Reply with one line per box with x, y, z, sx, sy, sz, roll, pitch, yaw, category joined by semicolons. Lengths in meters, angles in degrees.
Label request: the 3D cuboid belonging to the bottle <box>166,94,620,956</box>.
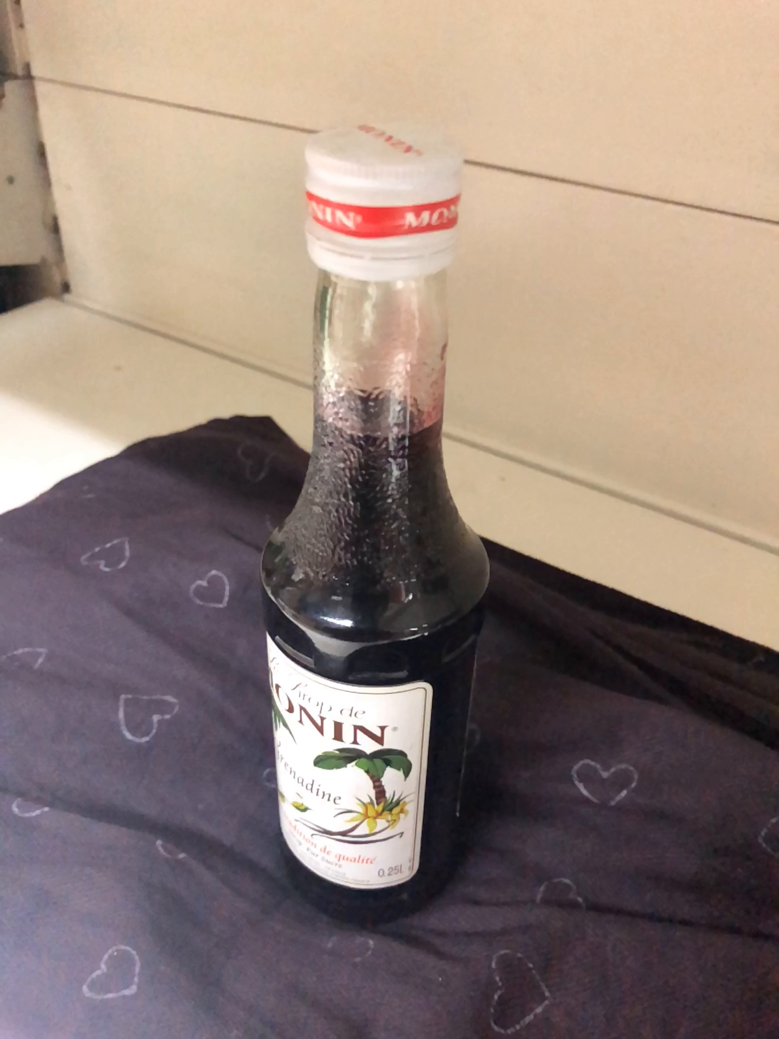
-0.003;0.011;0.215;0.060;0.199;0.060;3;34;-2;bottle
